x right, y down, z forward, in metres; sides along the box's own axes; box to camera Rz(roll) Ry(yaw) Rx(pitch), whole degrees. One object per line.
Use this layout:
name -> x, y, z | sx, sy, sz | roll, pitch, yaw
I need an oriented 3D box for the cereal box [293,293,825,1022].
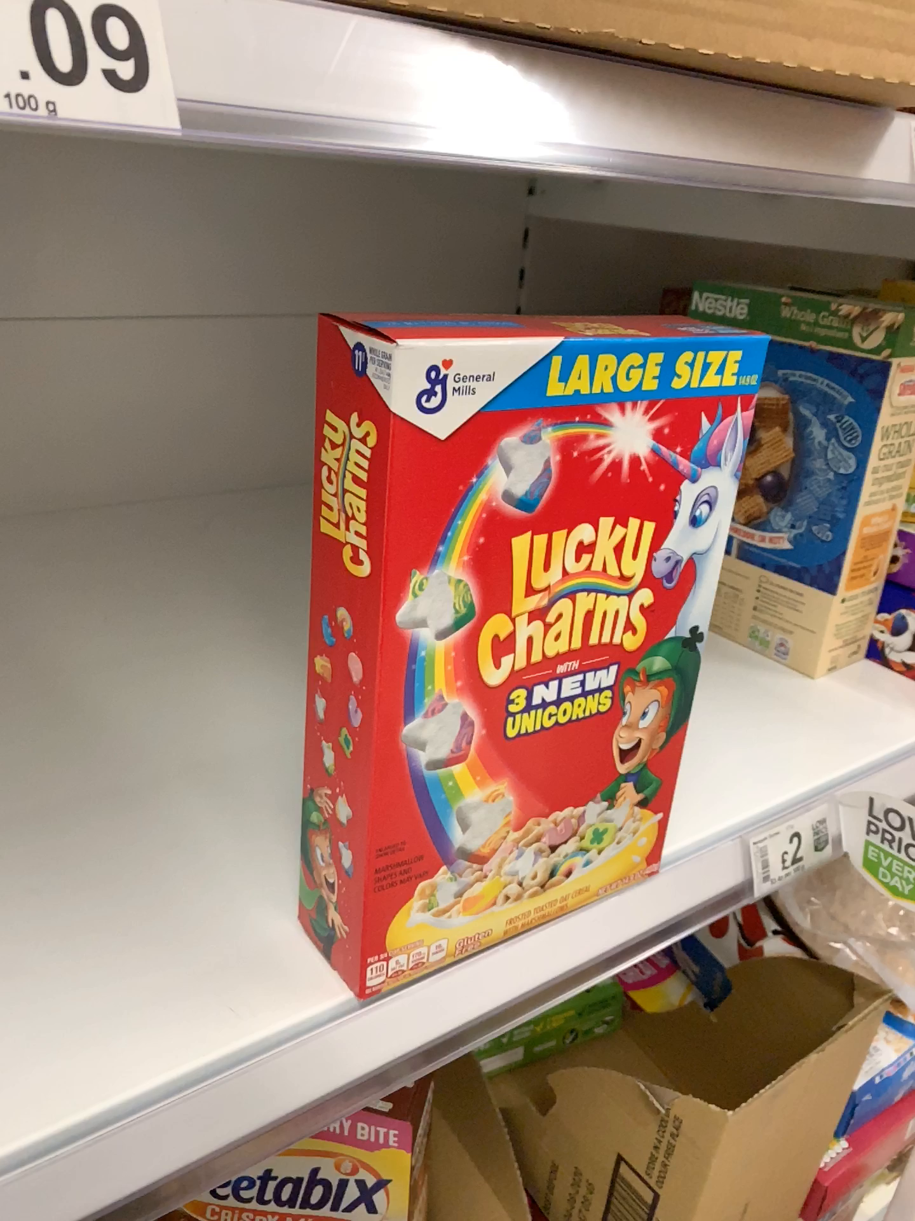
cereal box -> 0.039, 0.012, 0.428 | 0.211, 0.288, 0.070 | -11, 28, -32
